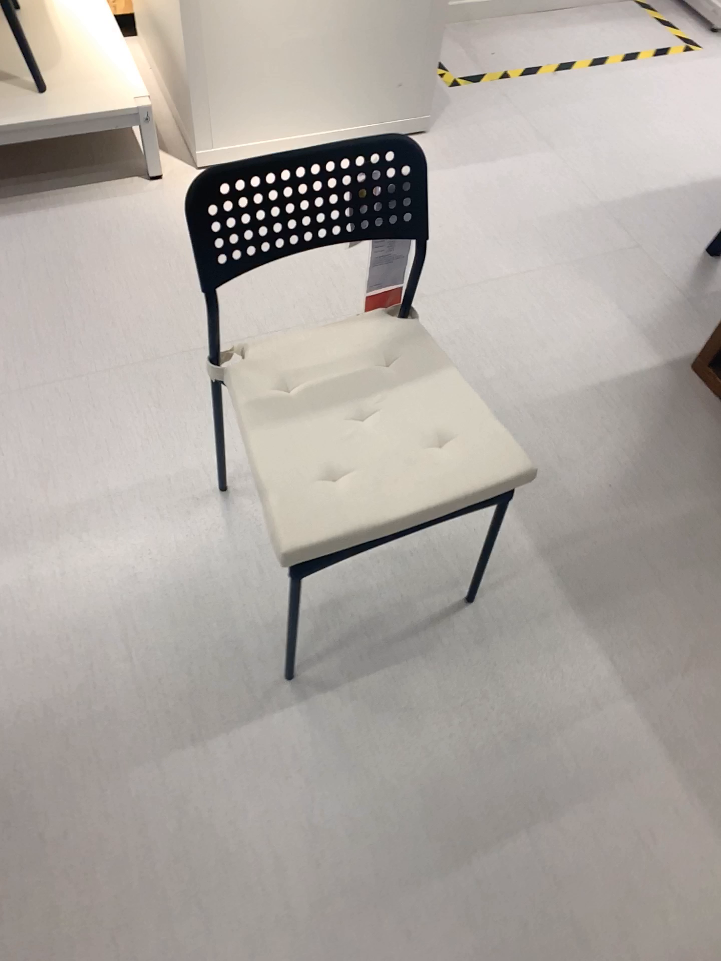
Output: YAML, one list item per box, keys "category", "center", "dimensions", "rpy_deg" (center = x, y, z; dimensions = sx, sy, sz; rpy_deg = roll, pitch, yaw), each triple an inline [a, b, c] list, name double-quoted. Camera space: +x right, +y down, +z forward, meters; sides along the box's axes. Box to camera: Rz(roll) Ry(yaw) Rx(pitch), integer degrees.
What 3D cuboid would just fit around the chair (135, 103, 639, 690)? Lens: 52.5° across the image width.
- category: "chair"
  center: [-0.017, -0.085, 1.202]
  dimensions: [0.450, 0.758, 0.491]
  rpy_deg: [-18, 60, -17]
